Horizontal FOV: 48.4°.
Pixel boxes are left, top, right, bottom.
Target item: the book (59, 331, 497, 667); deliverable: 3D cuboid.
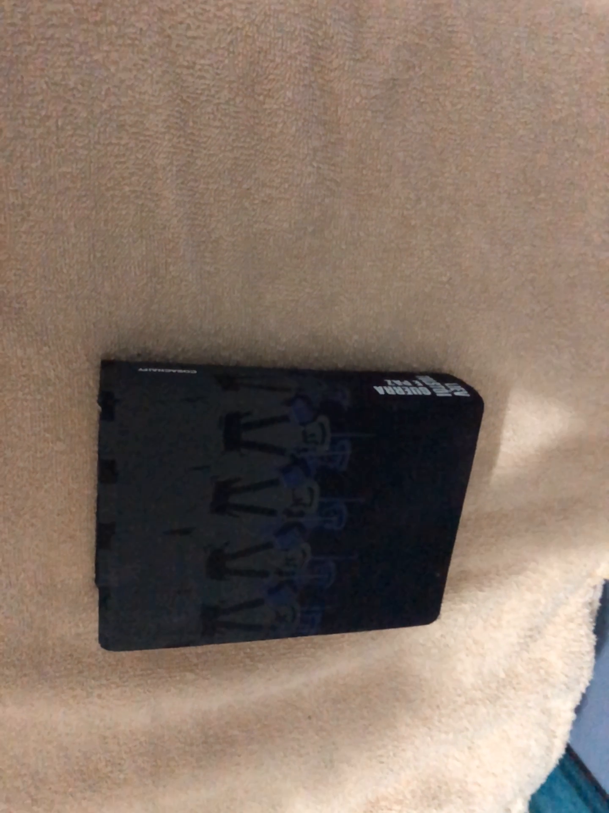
[{"bbox_3d":[-0.017,0.042,0.329,0.190,0.050,0.140,1,110,-18],"label":"book"}]
